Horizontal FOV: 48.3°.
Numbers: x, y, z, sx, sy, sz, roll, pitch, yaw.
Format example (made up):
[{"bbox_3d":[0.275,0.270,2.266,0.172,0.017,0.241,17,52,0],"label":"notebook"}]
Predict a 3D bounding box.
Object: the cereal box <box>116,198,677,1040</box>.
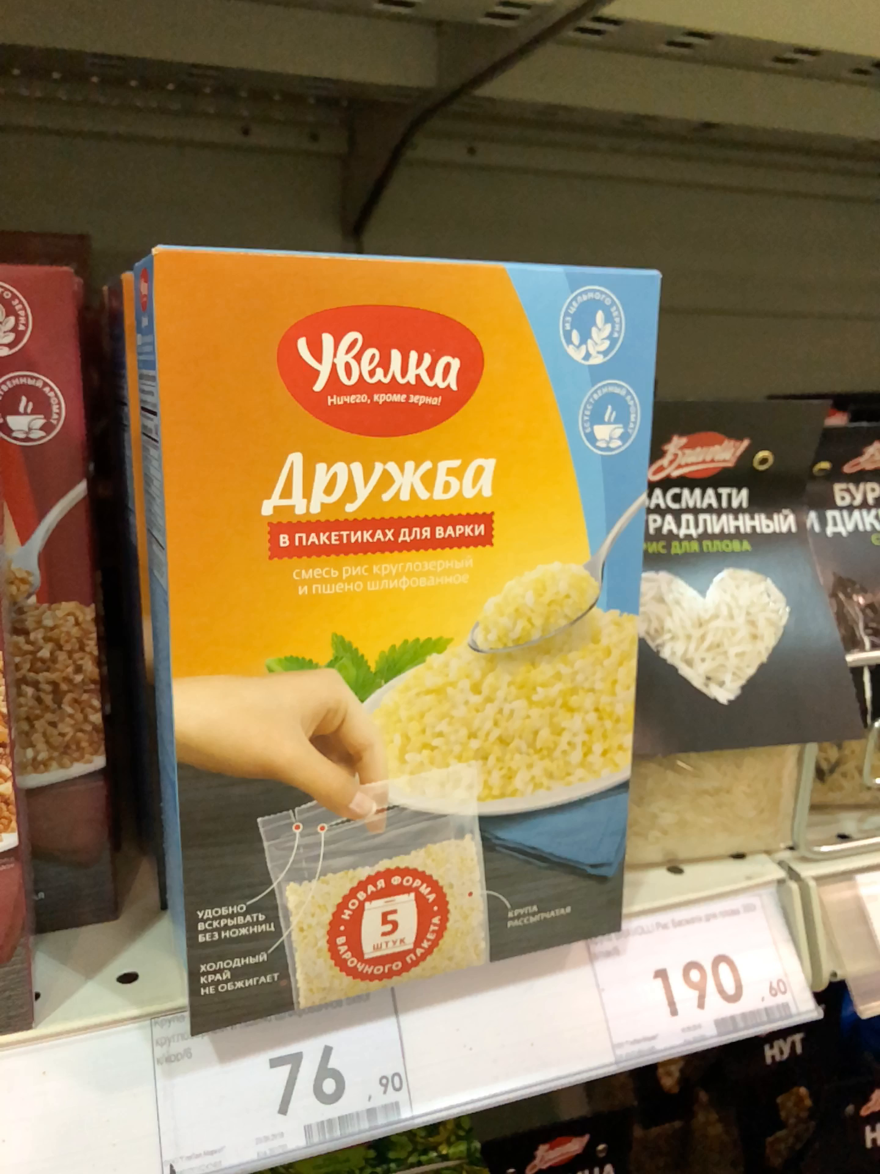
[{"bbox_3d":[-0.010,0.006,0.257,0.130,0.189,0.040,-4,13,-23],"label":"cereal box"}]
